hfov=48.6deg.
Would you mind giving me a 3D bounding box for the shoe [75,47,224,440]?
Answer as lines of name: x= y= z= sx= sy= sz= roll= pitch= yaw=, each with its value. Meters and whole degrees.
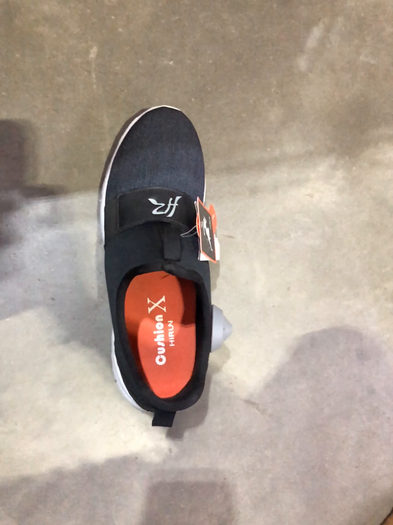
shoe: x=-0.042 y=-0.012 z=0.369 sx=0.100 sy=0.130 sz=0.270 roll=1 pitch=84 yaw=-11
